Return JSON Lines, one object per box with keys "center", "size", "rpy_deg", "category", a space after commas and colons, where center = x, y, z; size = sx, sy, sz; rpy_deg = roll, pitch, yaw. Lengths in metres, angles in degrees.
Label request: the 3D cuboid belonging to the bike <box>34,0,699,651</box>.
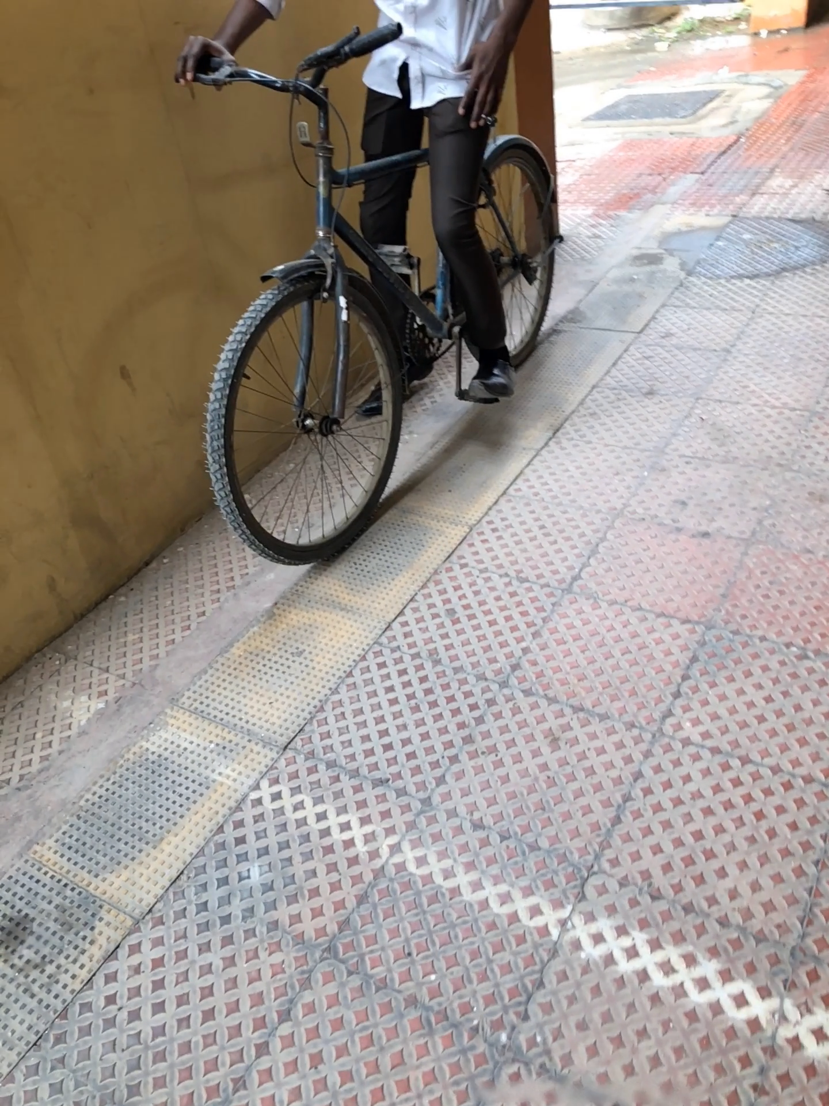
{"center": [0.110, -0.728, 2.078], "size": [0.588, 1.024, 1.582], "rpy_deg": [15, 40, 30], "category": "bike"}
